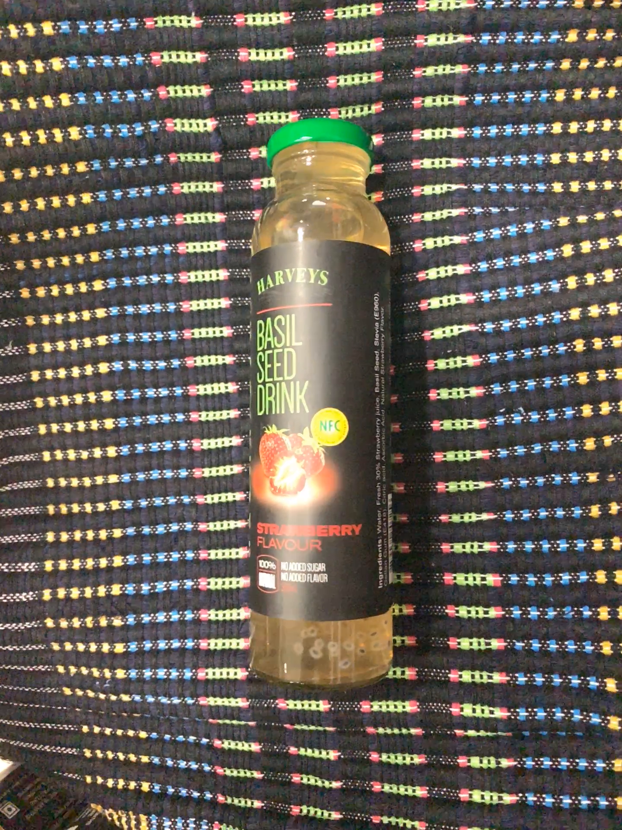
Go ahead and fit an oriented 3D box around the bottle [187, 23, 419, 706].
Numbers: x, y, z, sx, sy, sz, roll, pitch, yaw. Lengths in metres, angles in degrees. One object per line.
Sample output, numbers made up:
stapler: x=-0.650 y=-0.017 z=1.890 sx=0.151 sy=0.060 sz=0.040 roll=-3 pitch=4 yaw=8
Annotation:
bottle: x=-0.003 y=-0.018 z=0.247 sx=0.060 sy=0.060 sz=0.220 roll=-6 pitch=82 yaw=45
